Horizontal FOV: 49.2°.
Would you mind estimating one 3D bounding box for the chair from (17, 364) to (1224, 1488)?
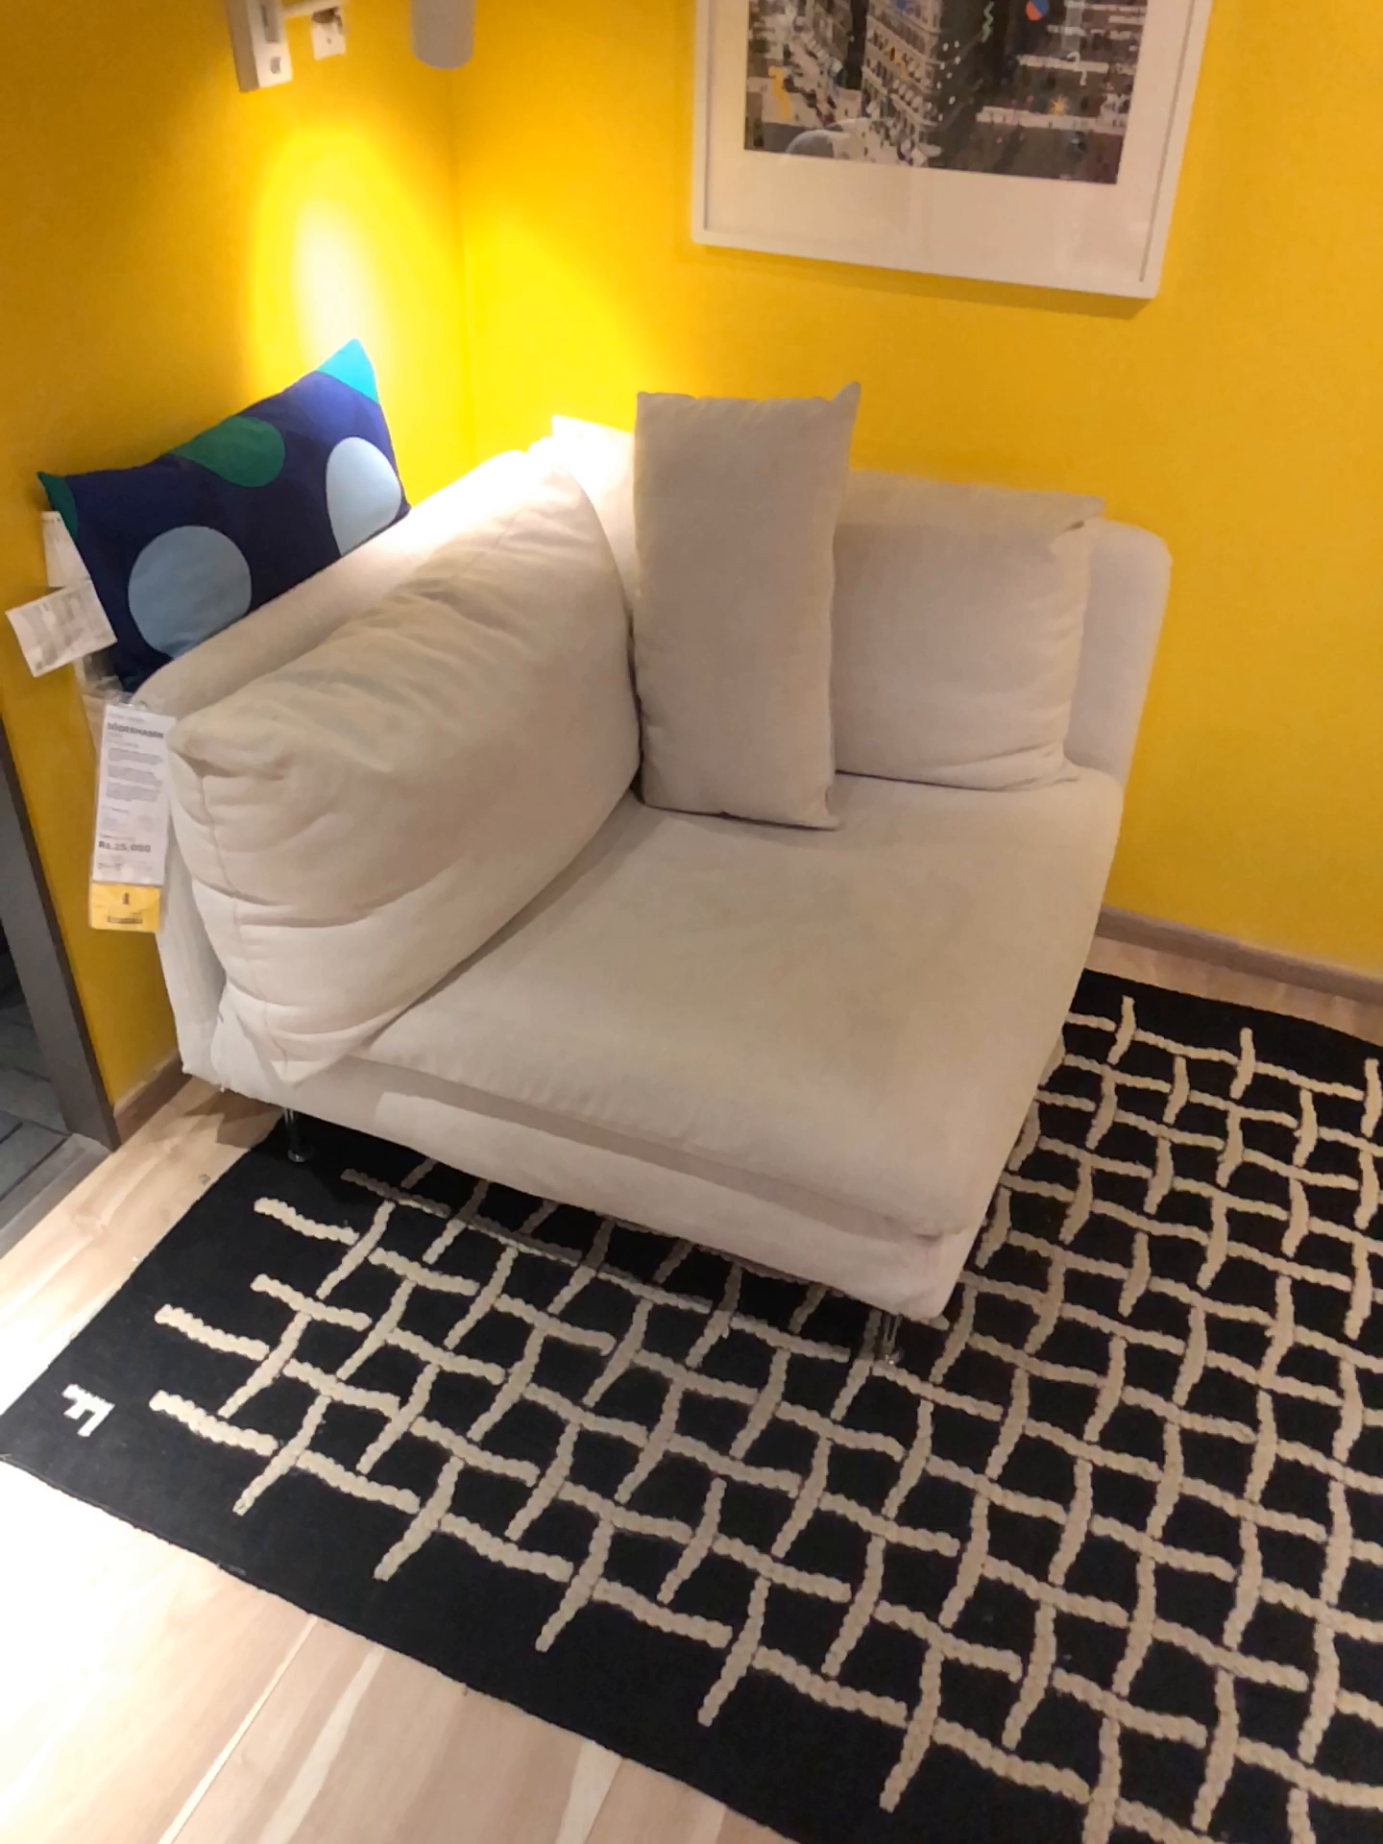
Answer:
[{"bbox_3d":[0.017,-0.128,1.957,1.011,0.755,1.117,15,38,18],"label":"chair"}]
